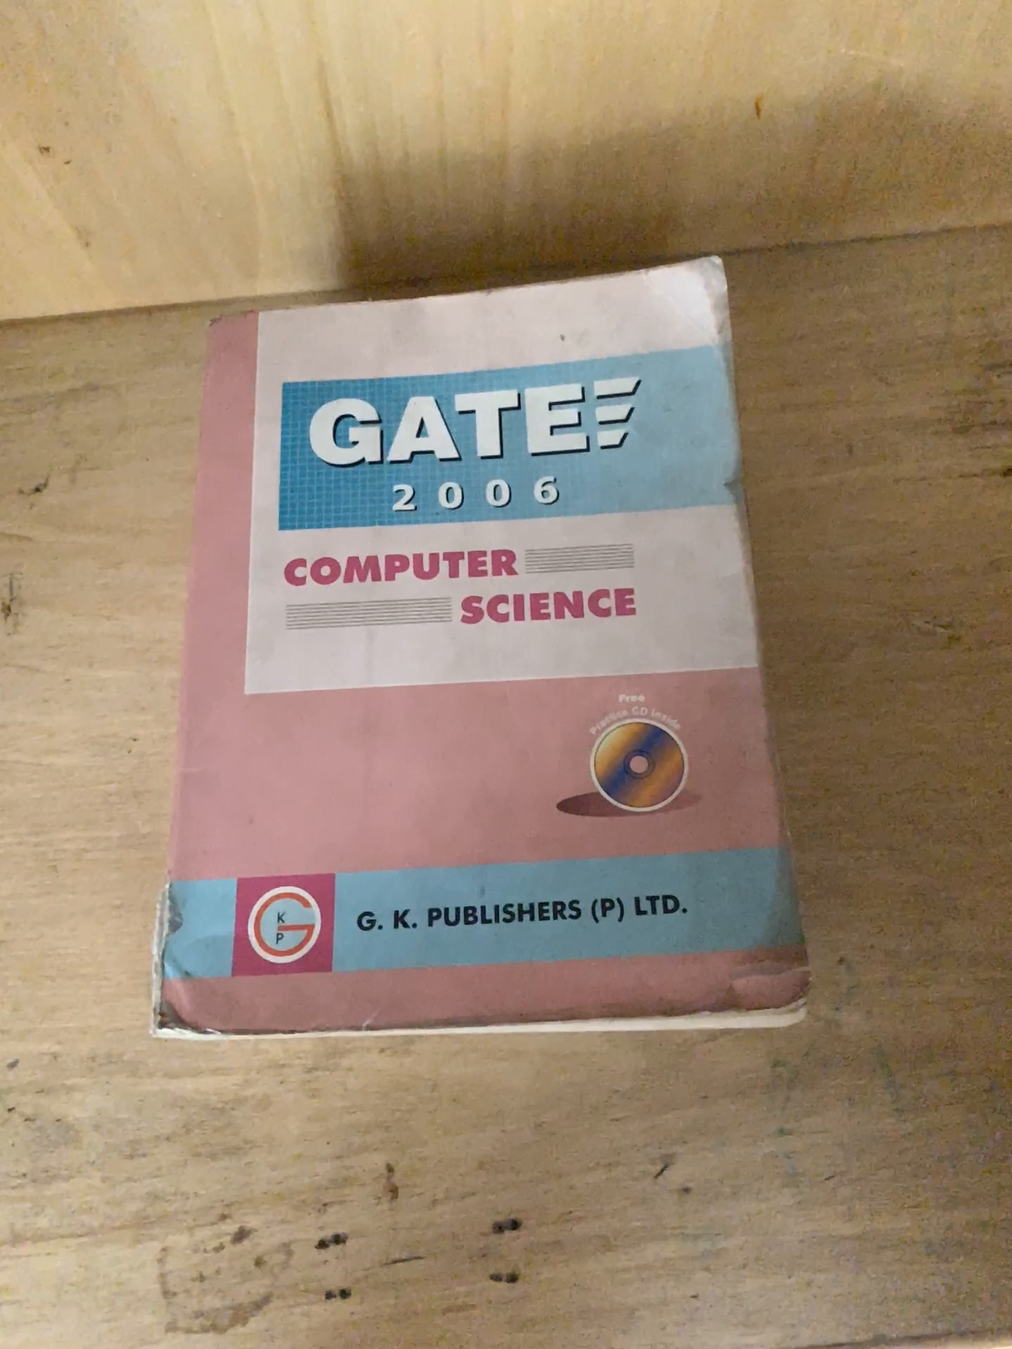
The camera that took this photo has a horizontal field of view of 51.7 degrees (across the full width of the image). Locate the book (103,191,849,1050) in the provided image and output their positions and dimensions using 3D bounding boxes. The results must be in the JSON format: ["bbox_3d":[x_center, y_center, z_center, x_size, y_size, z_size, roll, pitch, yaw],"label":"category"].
[{"bbox_3d":[-0.011,-0.021,0.349,0.190,0.080,0.271,-2,70,1],"label":"book"}]
